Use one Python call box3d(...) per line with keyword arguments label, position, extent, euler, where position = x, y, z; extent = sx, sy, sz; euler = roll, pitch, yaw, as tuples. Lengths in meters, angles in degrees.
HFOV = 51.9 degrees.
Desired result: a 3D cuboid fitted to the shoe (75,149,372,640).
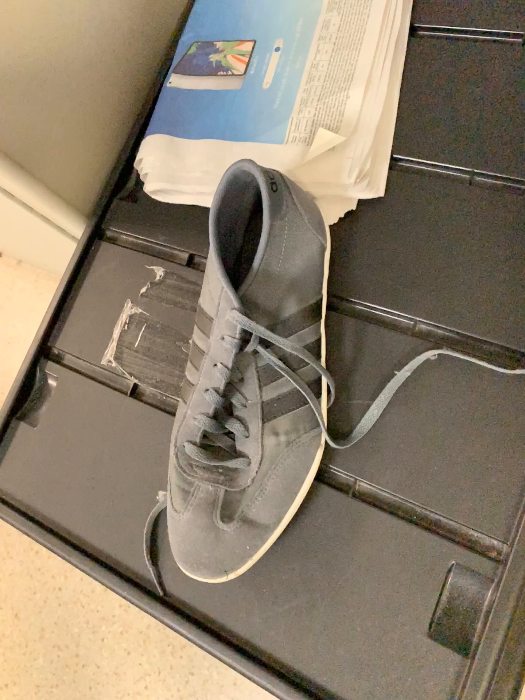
box3d(label="shoe", position=(-0.013, 0.014, 0.342), extent=(0.114, 0.077, 0.268), euler=(7, 77, 21))
